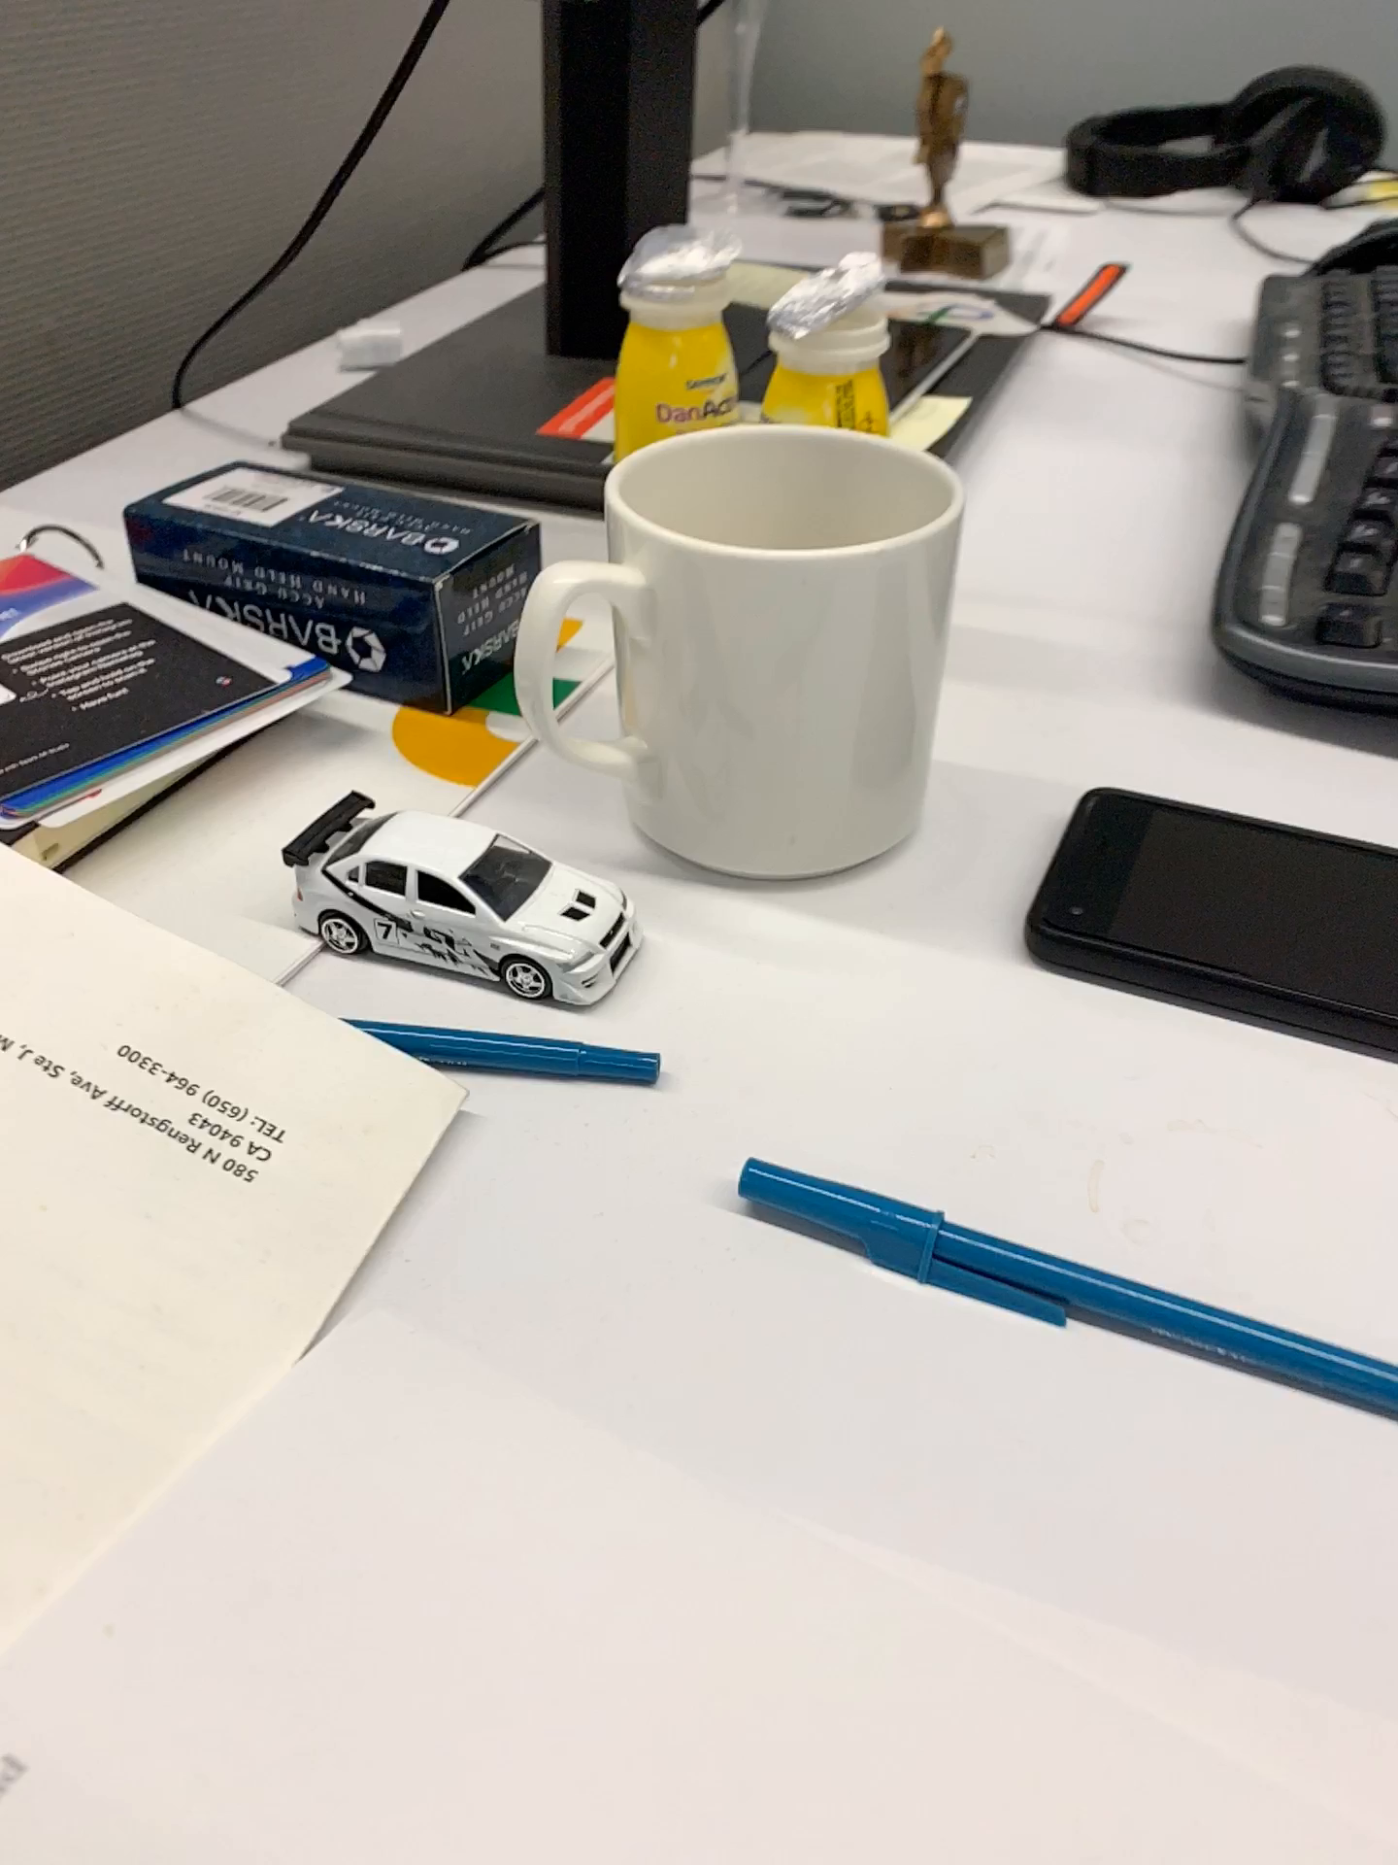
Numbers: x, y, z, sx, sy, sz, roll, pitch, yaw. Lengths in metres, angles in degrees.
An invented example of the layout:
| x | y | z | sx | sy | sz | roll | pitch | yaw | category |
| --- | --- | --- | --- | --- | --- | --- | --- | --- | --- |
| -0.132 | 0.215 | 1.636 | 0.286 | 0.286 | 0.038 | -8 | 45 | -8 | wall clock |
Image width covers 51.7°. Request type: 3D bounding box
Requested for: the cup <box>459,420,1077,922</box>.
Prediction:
| x | y | z | sx | sy | sz | roll | pitch | yaw | category |
| --- | --- | --- | --- | --- | --- | --- | --- | --- | --- |
| 0.013 | -0.066 | 0.346 | 0.120 | 0.080 | 0.070 | -12 | 38 | -17 | cup |
